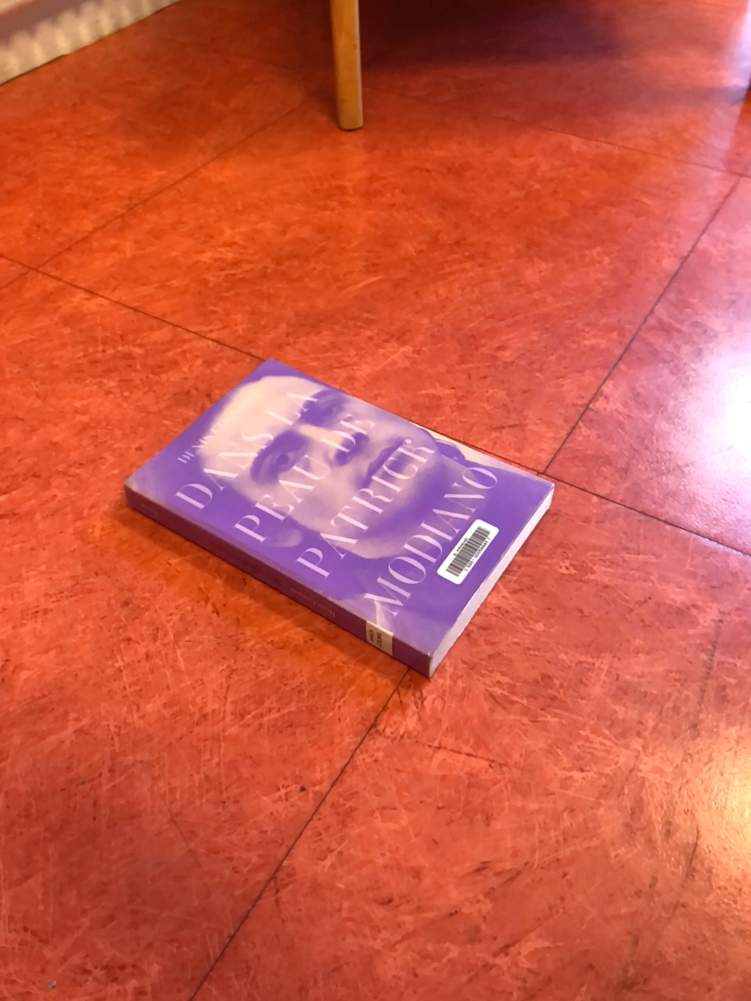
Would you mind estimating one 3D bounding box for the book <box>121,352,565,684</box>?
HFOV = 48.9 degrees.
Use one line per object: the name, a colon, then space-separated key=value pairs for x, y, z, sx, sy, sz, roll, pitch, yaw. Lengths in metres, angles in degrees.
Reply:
book: x=-0.021 y=-0.004 z=0.525 sx=0.232 sy=0.030 sz=0.151 roll=26 pitch=53 yaw=22
